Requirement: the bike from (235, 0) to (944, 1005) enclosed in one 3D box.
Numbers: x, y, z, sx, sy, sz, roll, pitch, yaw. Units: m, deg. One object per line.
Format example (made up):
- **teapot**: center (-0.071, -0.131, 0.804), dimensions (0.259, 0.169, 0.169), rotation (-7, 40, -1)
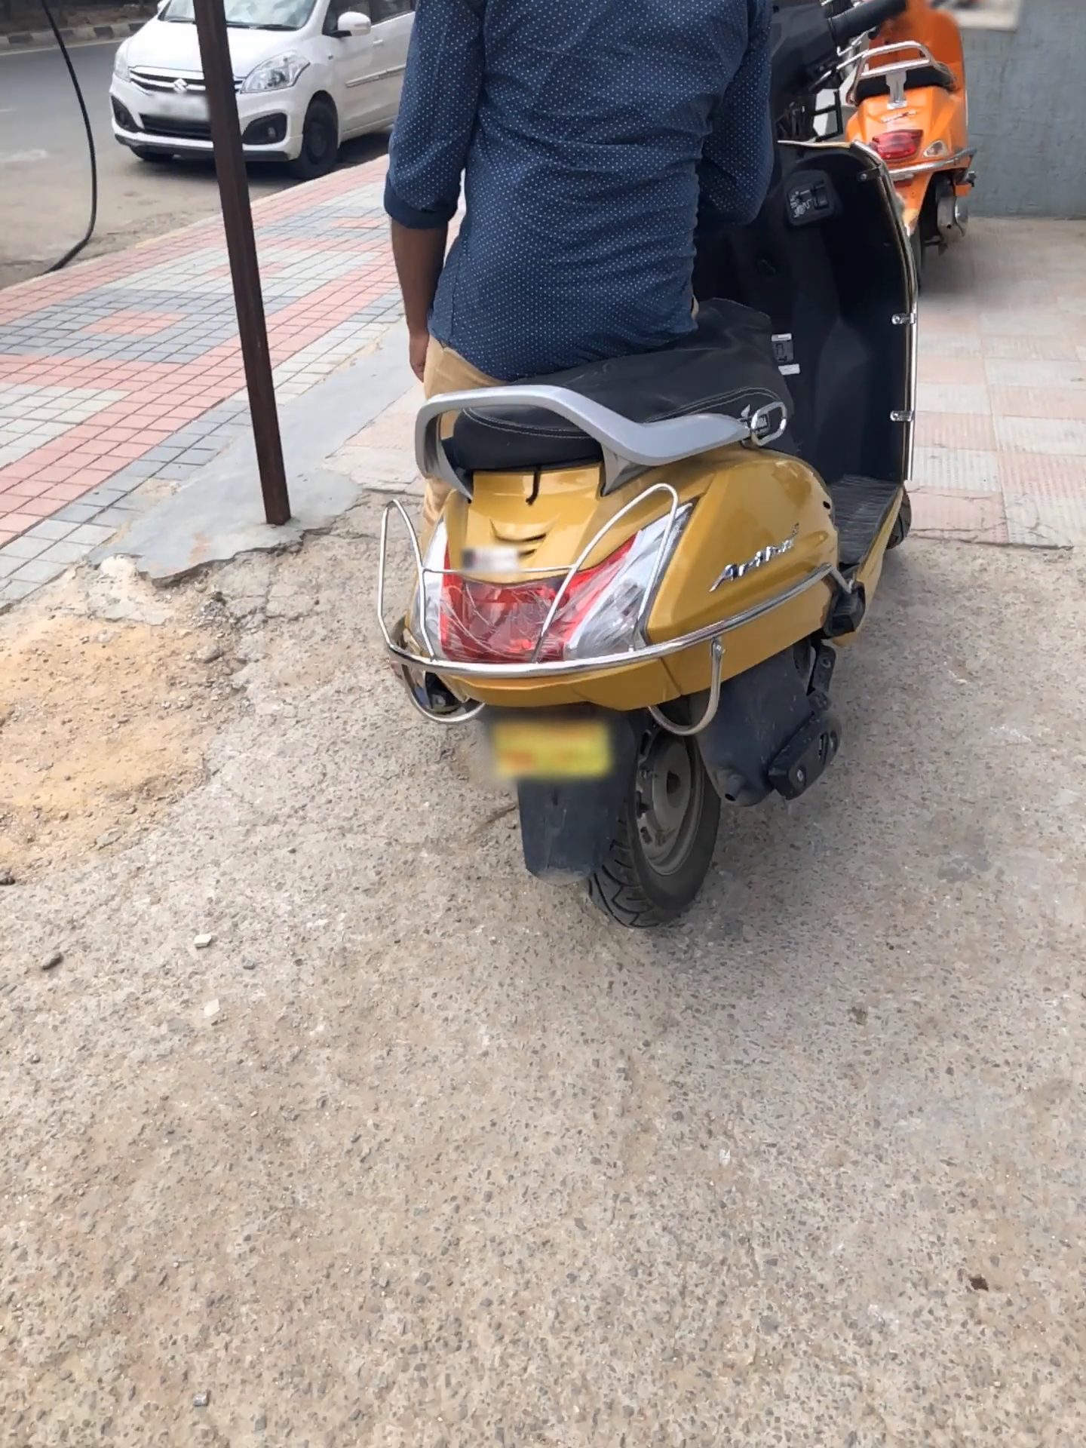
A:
- **bike**: center (0.204, -0.616, 1.968), dimensions (0.584, 1.153, 1.538), rotation (11, 37, 15)
